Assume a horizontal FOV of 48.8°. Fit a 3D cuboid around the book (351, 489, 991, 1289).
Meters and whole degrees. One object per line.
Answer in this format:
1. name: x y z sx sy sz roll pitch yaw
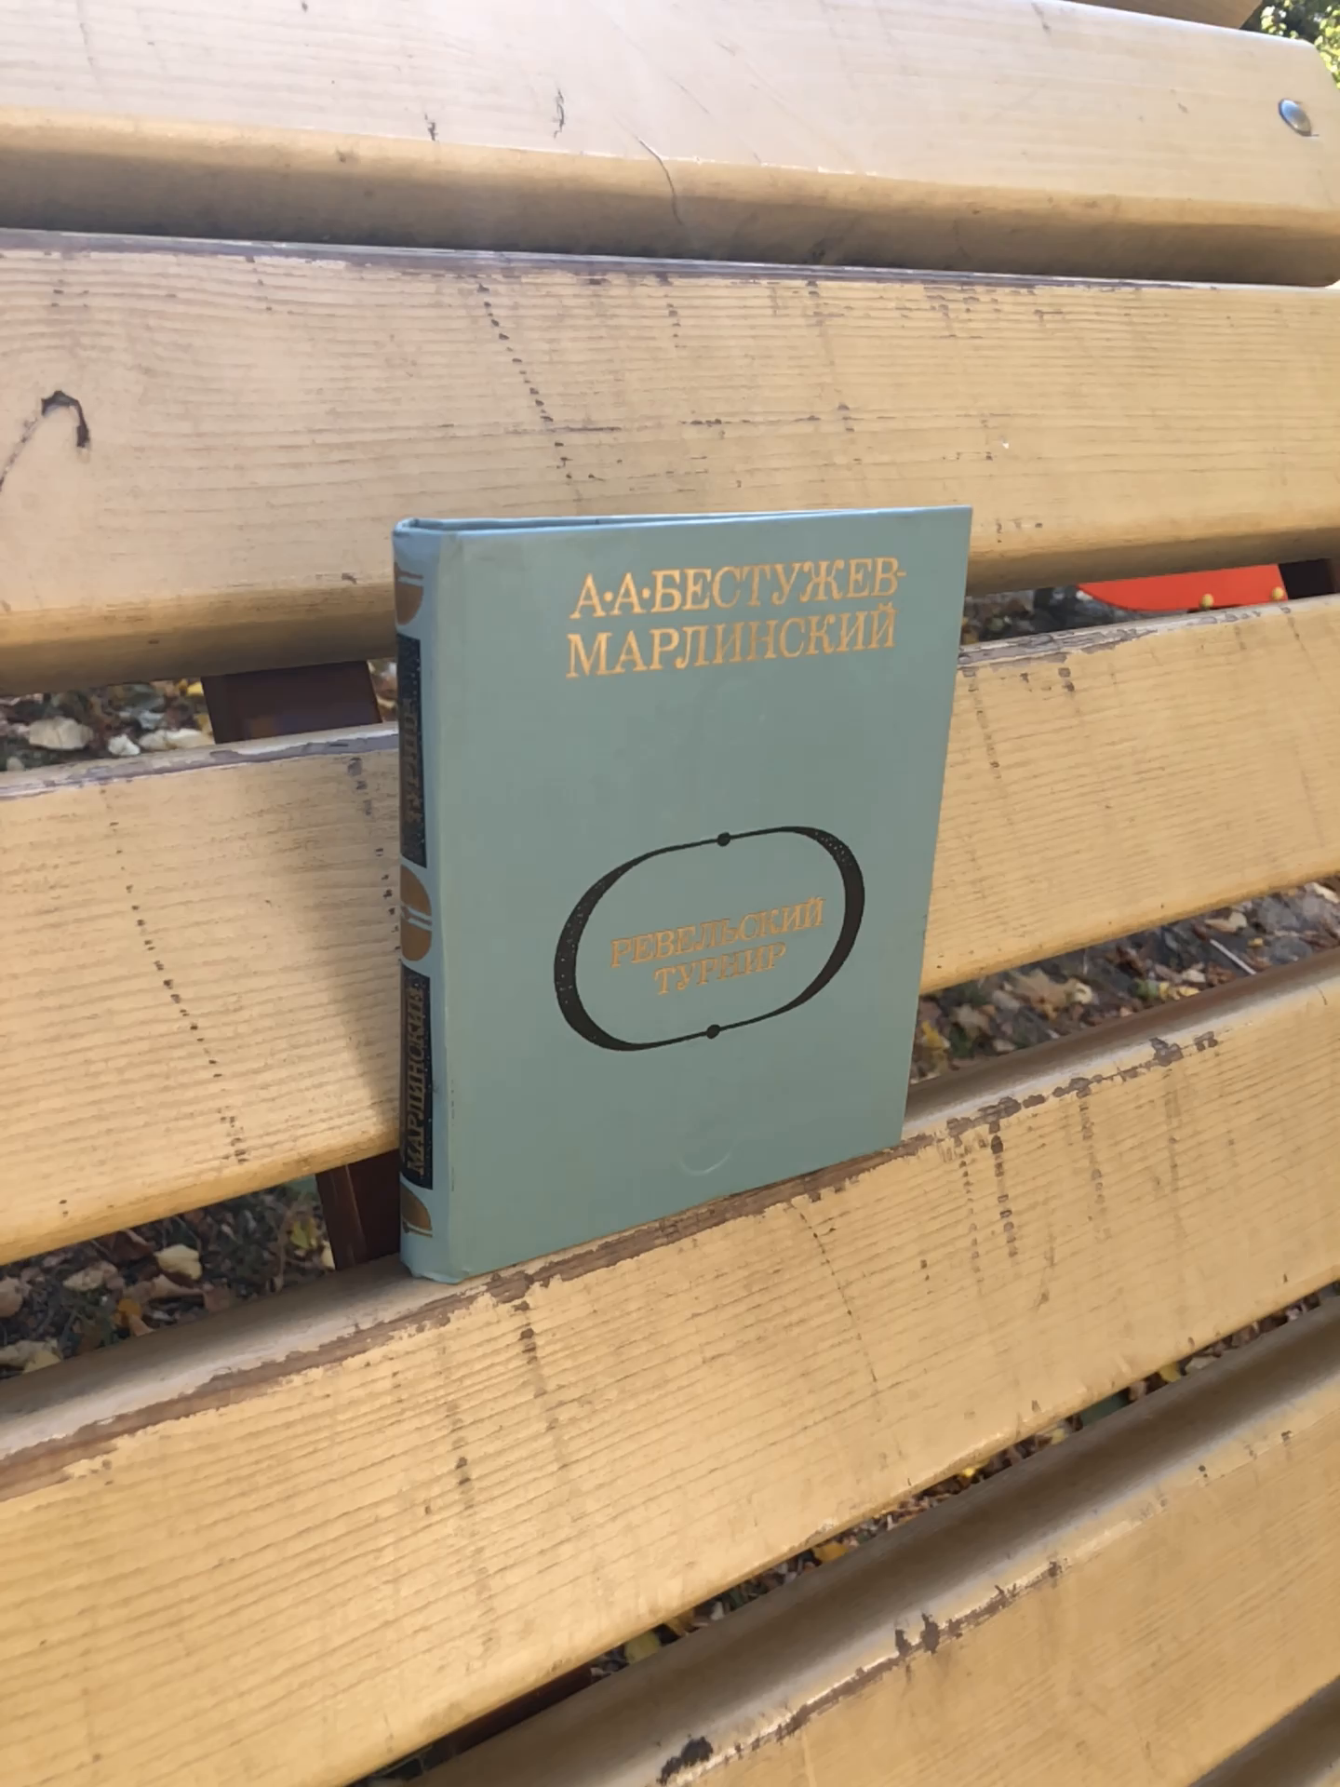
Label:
1. book: 0.003 -0.003 0.344 0.140 0.169 0.022 -10 26 -26
